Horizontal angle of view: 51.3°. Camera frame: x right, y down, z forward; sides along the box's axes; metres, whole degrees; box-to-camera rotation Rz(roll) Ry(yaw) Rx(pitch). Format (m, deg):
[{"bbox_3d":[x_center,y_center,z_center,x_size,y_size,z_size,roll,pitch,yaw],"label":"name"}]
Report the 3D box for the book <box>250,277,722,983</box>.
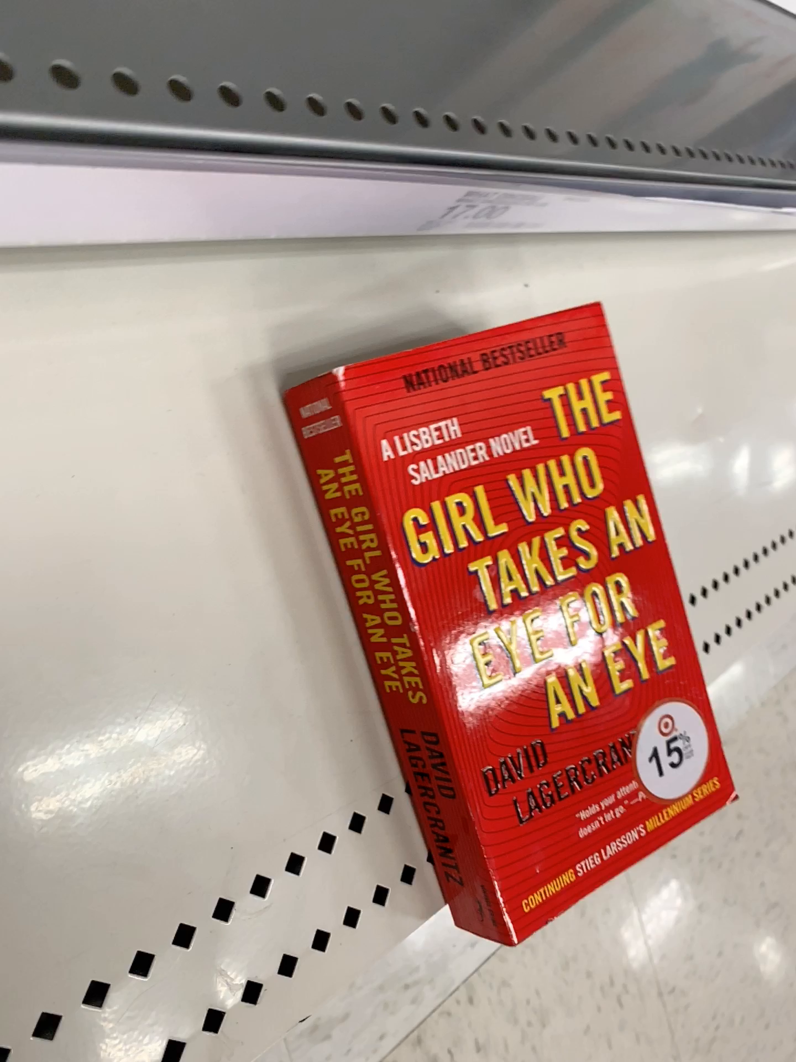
[{"bbox_3d":[0.040,0.024,0.287,0.116,0.046,0.199,-23,99,-41],"label":"book"}]
